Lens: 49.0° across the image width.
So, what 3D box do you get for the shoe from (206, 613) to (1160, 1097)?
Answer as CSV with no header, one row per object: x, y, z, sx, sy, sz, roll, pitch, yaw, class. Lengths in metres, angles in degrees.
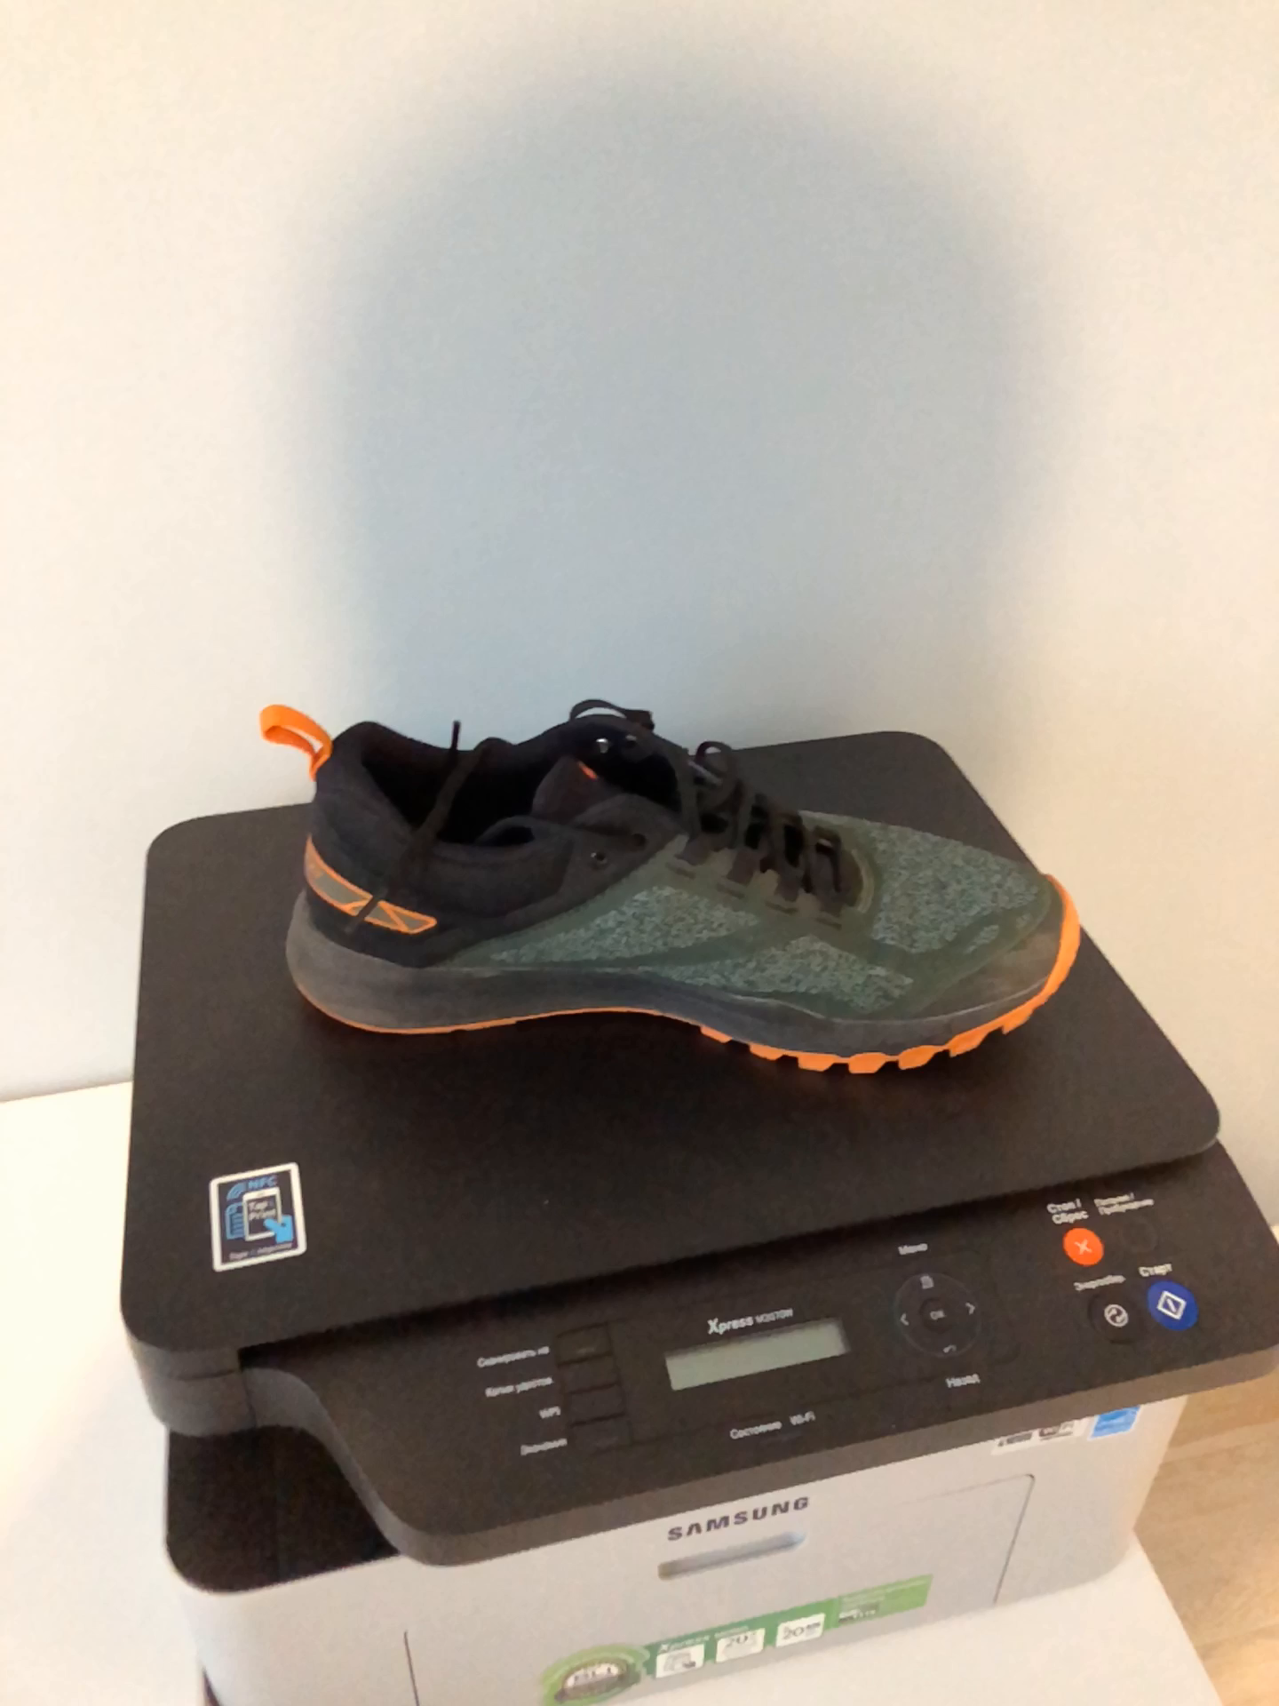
0.015,-0.003,0.538,0.310,0.119,0.121,3,37,3,shoe
